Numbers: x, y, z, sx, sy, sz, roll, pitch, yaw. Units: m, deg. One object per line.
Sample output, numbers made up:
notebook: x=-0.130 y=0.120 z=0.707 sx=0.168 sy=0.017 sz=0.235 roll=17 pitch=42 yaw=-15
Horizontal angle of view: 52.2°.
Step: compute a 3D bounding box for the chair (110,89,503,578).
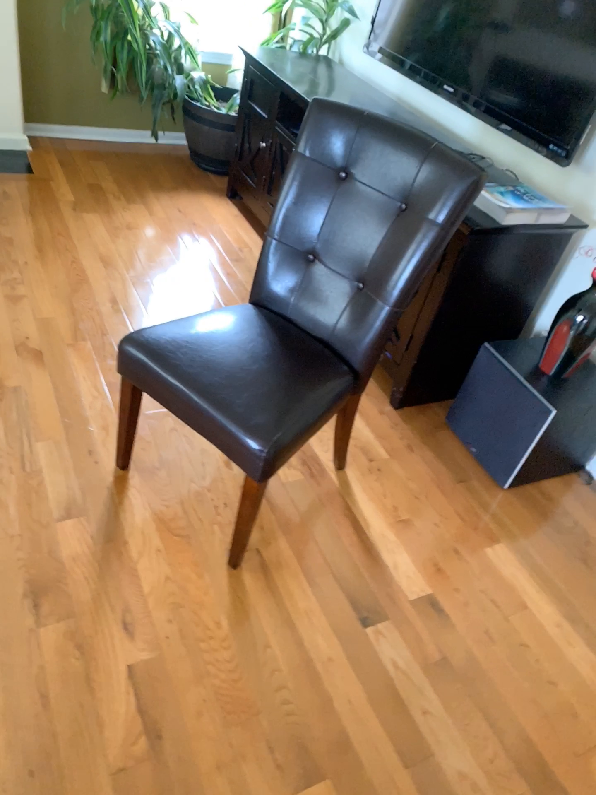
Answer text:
chair: x=-0.029 y=-0.181 z=1.578 sx=0.498 sy=0.968 sz=0.706 roll=35 pitch=42 yaw=23
